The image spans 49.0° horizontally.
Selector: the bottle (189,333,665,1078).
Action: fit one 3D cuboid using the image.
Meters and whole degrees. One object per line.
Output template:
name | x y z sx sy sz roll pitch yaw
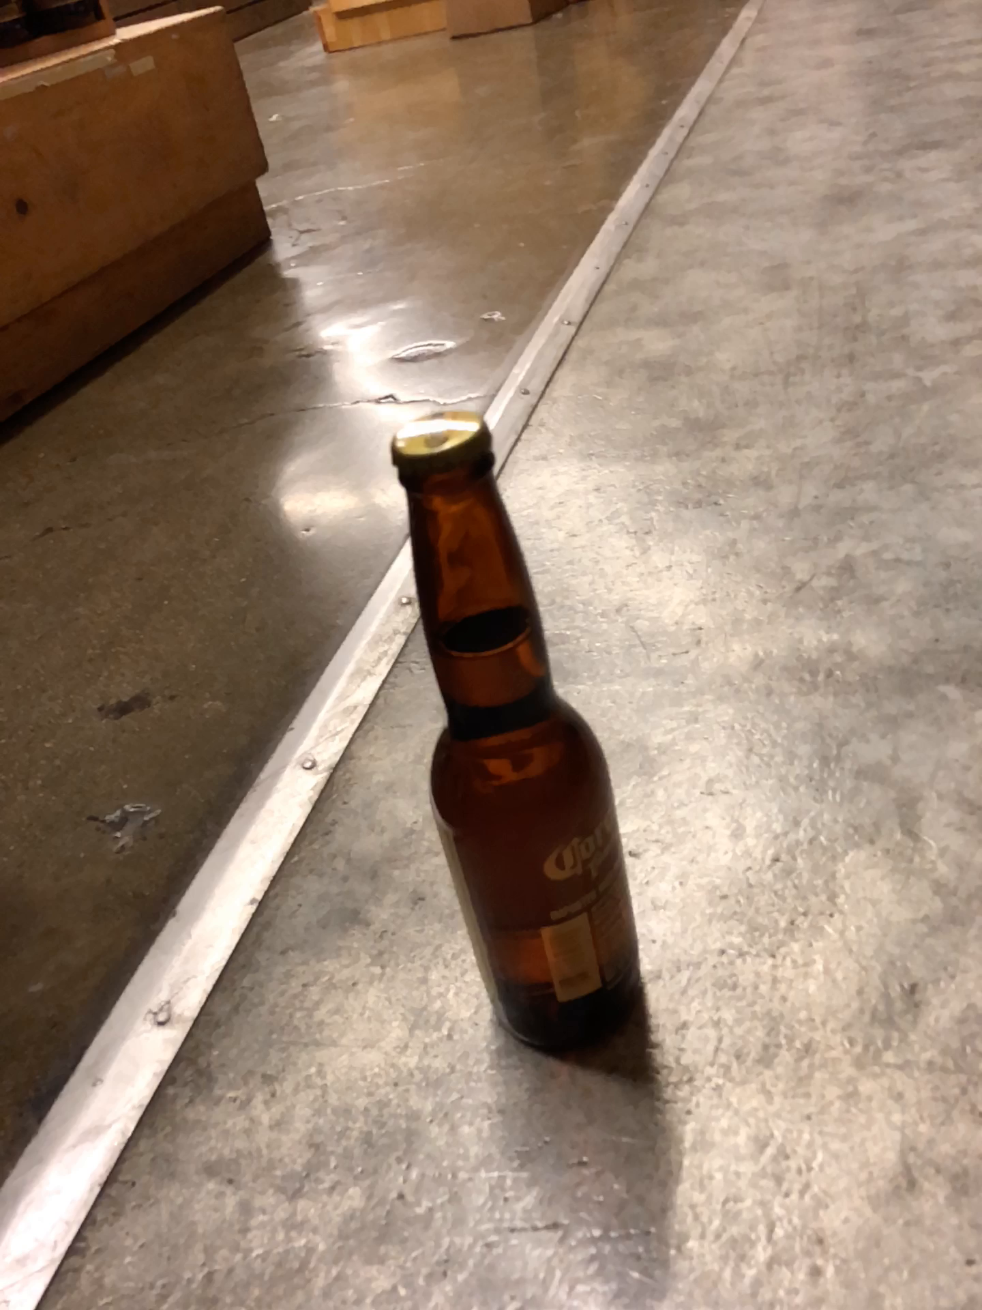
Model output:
bottle | -0.005 0.022 0.325 0.070 0.216 0.070 -9 35 6
